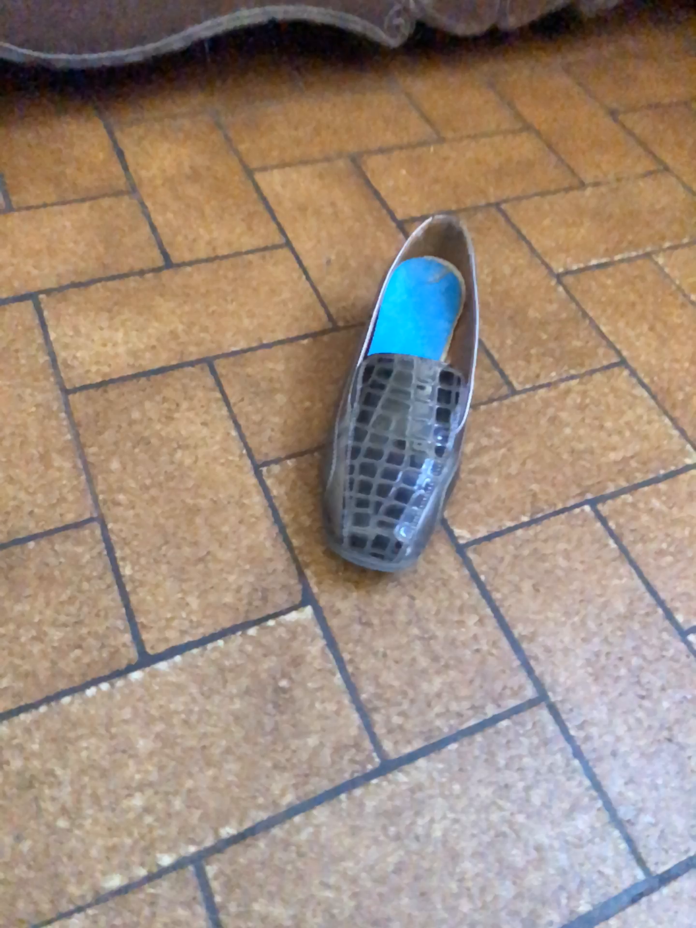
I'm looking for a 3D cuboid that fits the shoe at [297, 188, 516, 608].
[{"bbox_3d":[0.043,-0.054,0.492,0.090,0.089,0.261,13,54,1],"label":"shoe"}]
